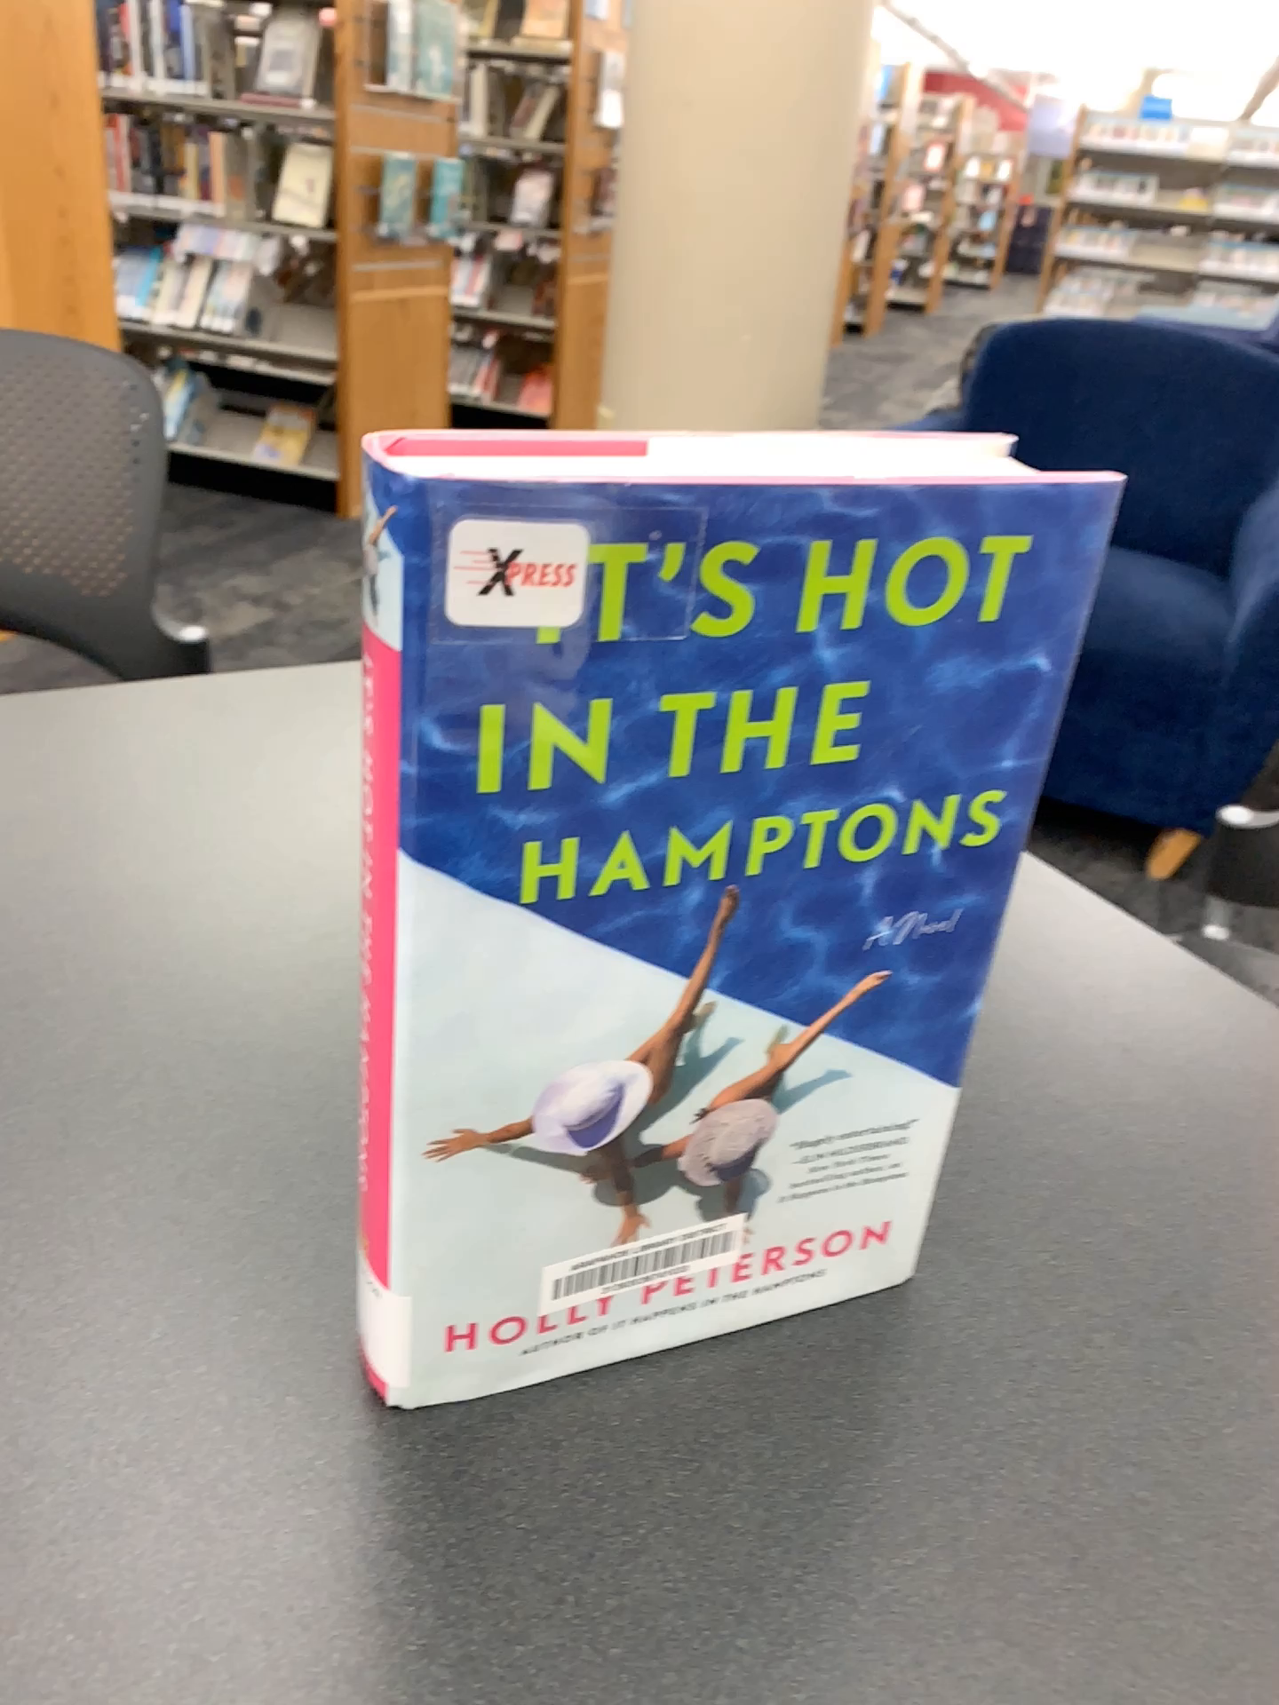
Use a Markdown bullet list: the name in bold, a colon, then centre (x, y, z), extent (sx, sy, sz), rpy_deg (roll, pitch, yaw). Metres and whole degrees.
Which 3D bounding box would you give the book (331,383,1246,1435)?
- **book**: centre (0.021, 0.015, 0.300), extent (0.170, 0.219, 0.050), rpy_deg (-7, 31, -23)
